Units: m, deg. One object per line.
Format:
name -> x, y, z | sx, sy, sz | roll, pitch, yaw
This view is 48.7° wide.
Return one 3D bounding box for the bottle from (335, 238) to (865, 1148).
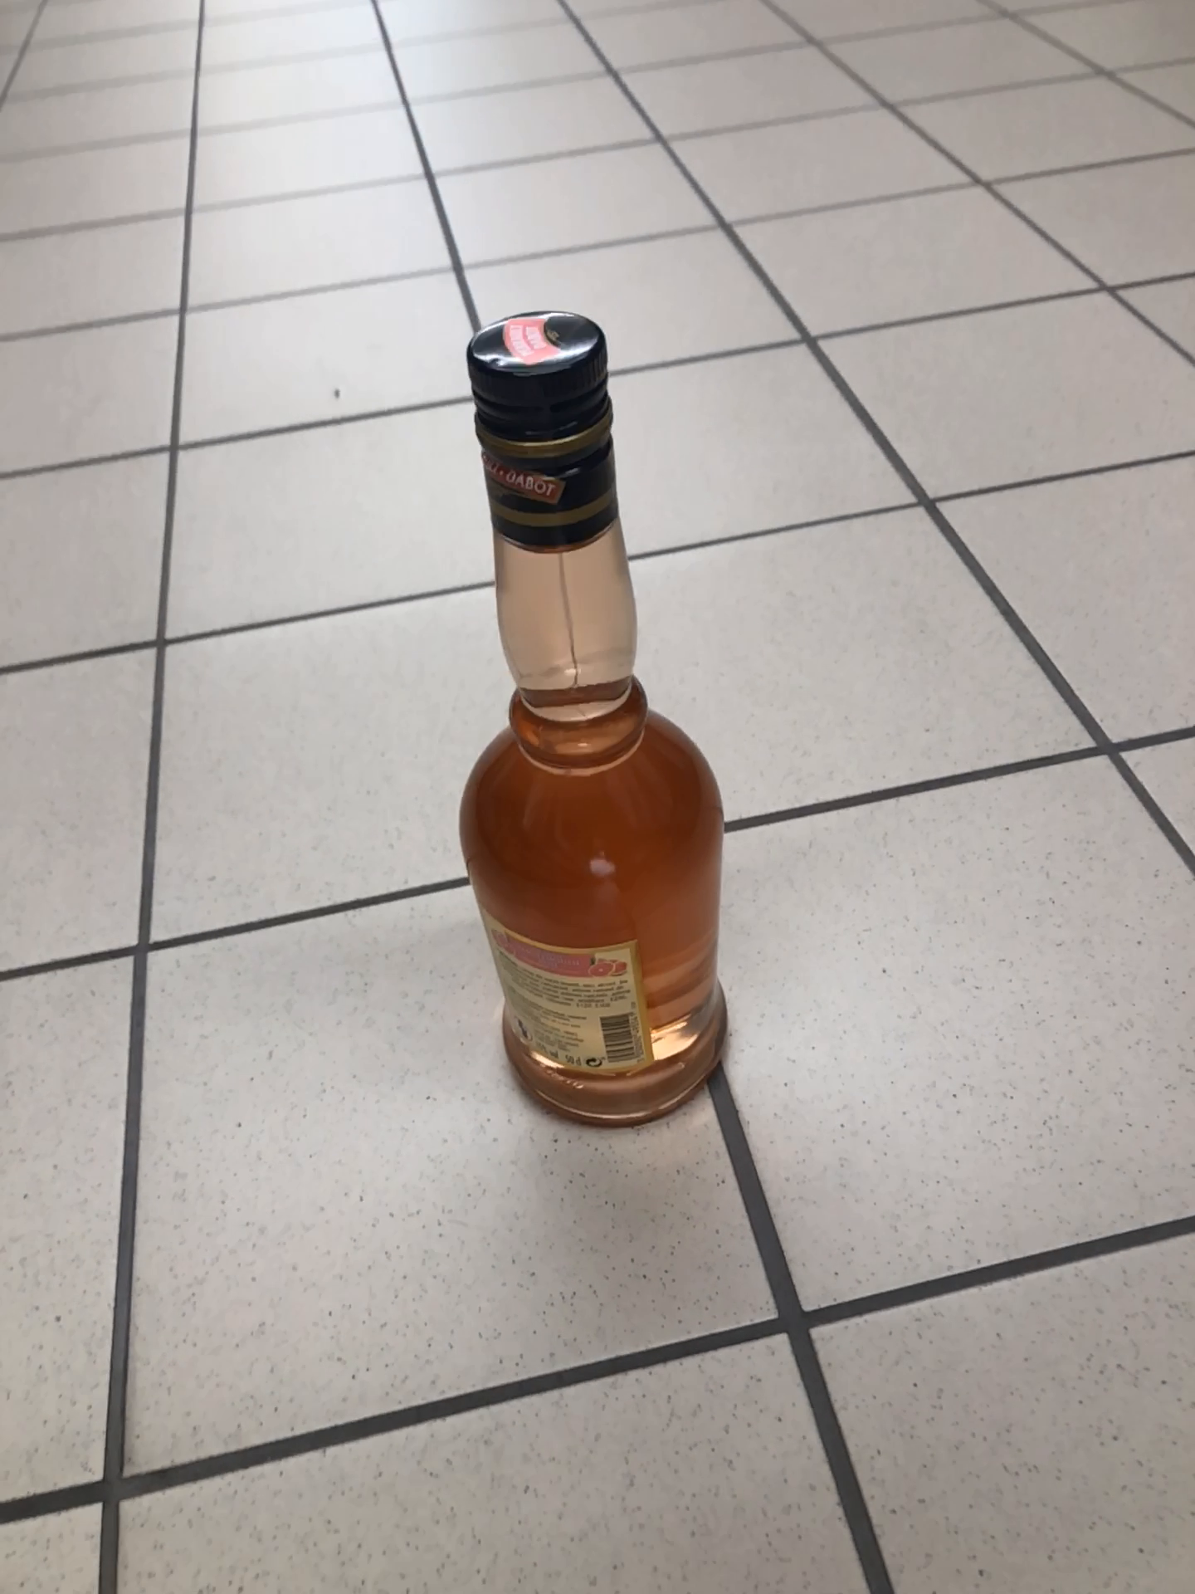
bottle -> 0.012, -0.016, 0.368 | 0.090, 0.238, 0.081 | 15, 47, 22
